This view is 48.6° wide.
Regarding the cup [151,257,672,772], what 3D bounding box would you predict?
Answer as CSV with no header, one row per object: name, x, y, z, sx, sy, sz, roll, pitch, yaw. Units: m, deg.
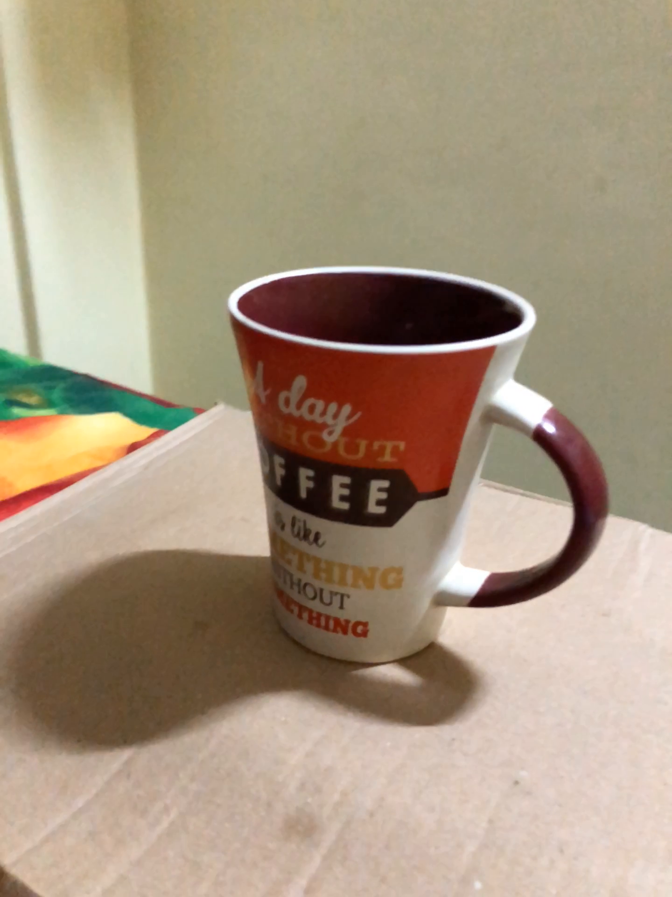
cup,0.026,0.004,0.247,0.130,0.109,0.101,15,26,32
